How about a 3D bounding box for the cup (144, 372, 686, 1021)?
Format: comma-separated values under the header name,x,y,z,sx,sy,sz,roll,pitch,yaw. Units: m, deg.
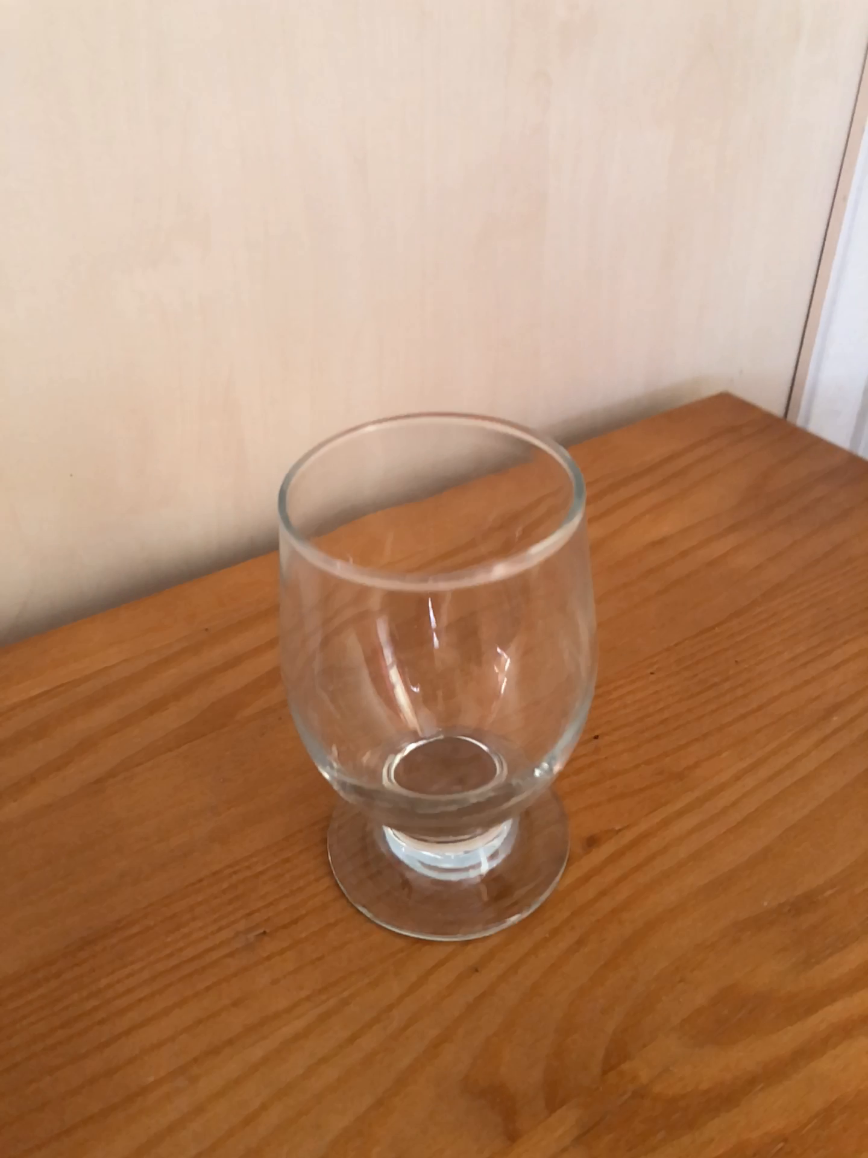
name,x,y,z,sx,sy,sz,roll,pitch,yaw
cup,-0.001,0.023,0.230,0.082,0.106,0.079,-1,36,1
